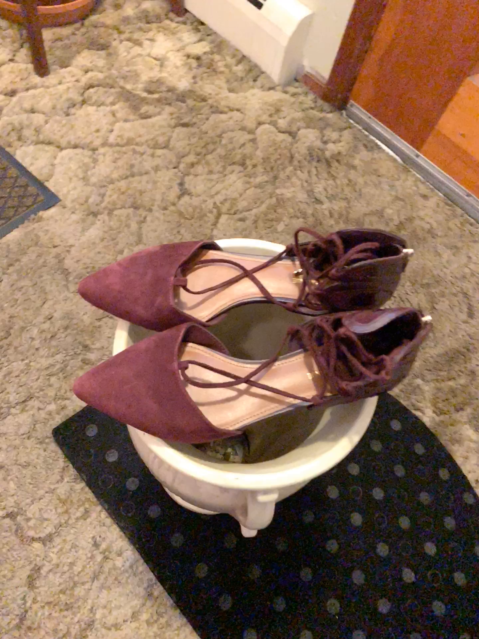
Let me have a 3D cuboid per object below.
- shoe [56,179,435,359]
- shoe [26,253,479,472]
[{"bbox_3d":[0.001,-0.038,0.411,0.280,0.070,0.091,-7,63,6],"label":"shoe"},{"bbox_3d":[0.005,0.032,0.351,0.280,0.070,0.090,-10,64,-2],"label":"shoe"}]
